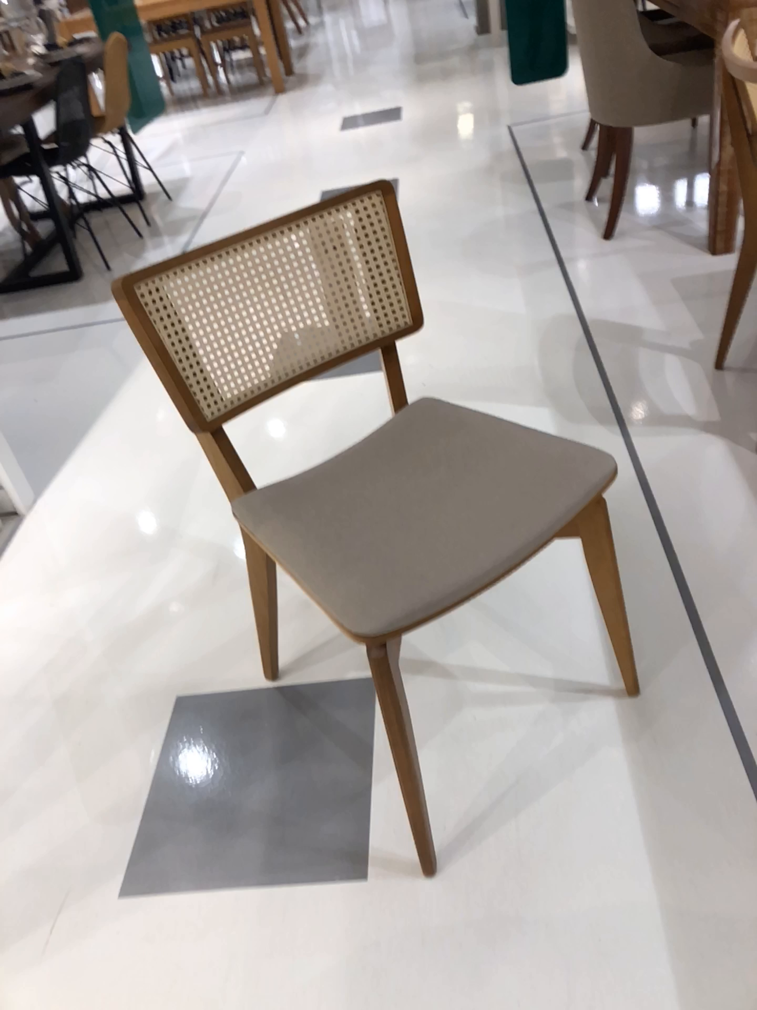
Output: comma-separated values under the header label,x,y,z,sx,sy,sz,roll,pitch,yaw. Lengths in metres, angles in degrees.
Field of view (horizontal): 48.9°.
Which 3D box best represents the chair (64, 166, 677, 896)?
label,x,y,z,sx,sy,sz,roll,pitch,yaw
chair,0.022,-0.001,1.285,0.541,0.794,0.603,-31,39,-24
